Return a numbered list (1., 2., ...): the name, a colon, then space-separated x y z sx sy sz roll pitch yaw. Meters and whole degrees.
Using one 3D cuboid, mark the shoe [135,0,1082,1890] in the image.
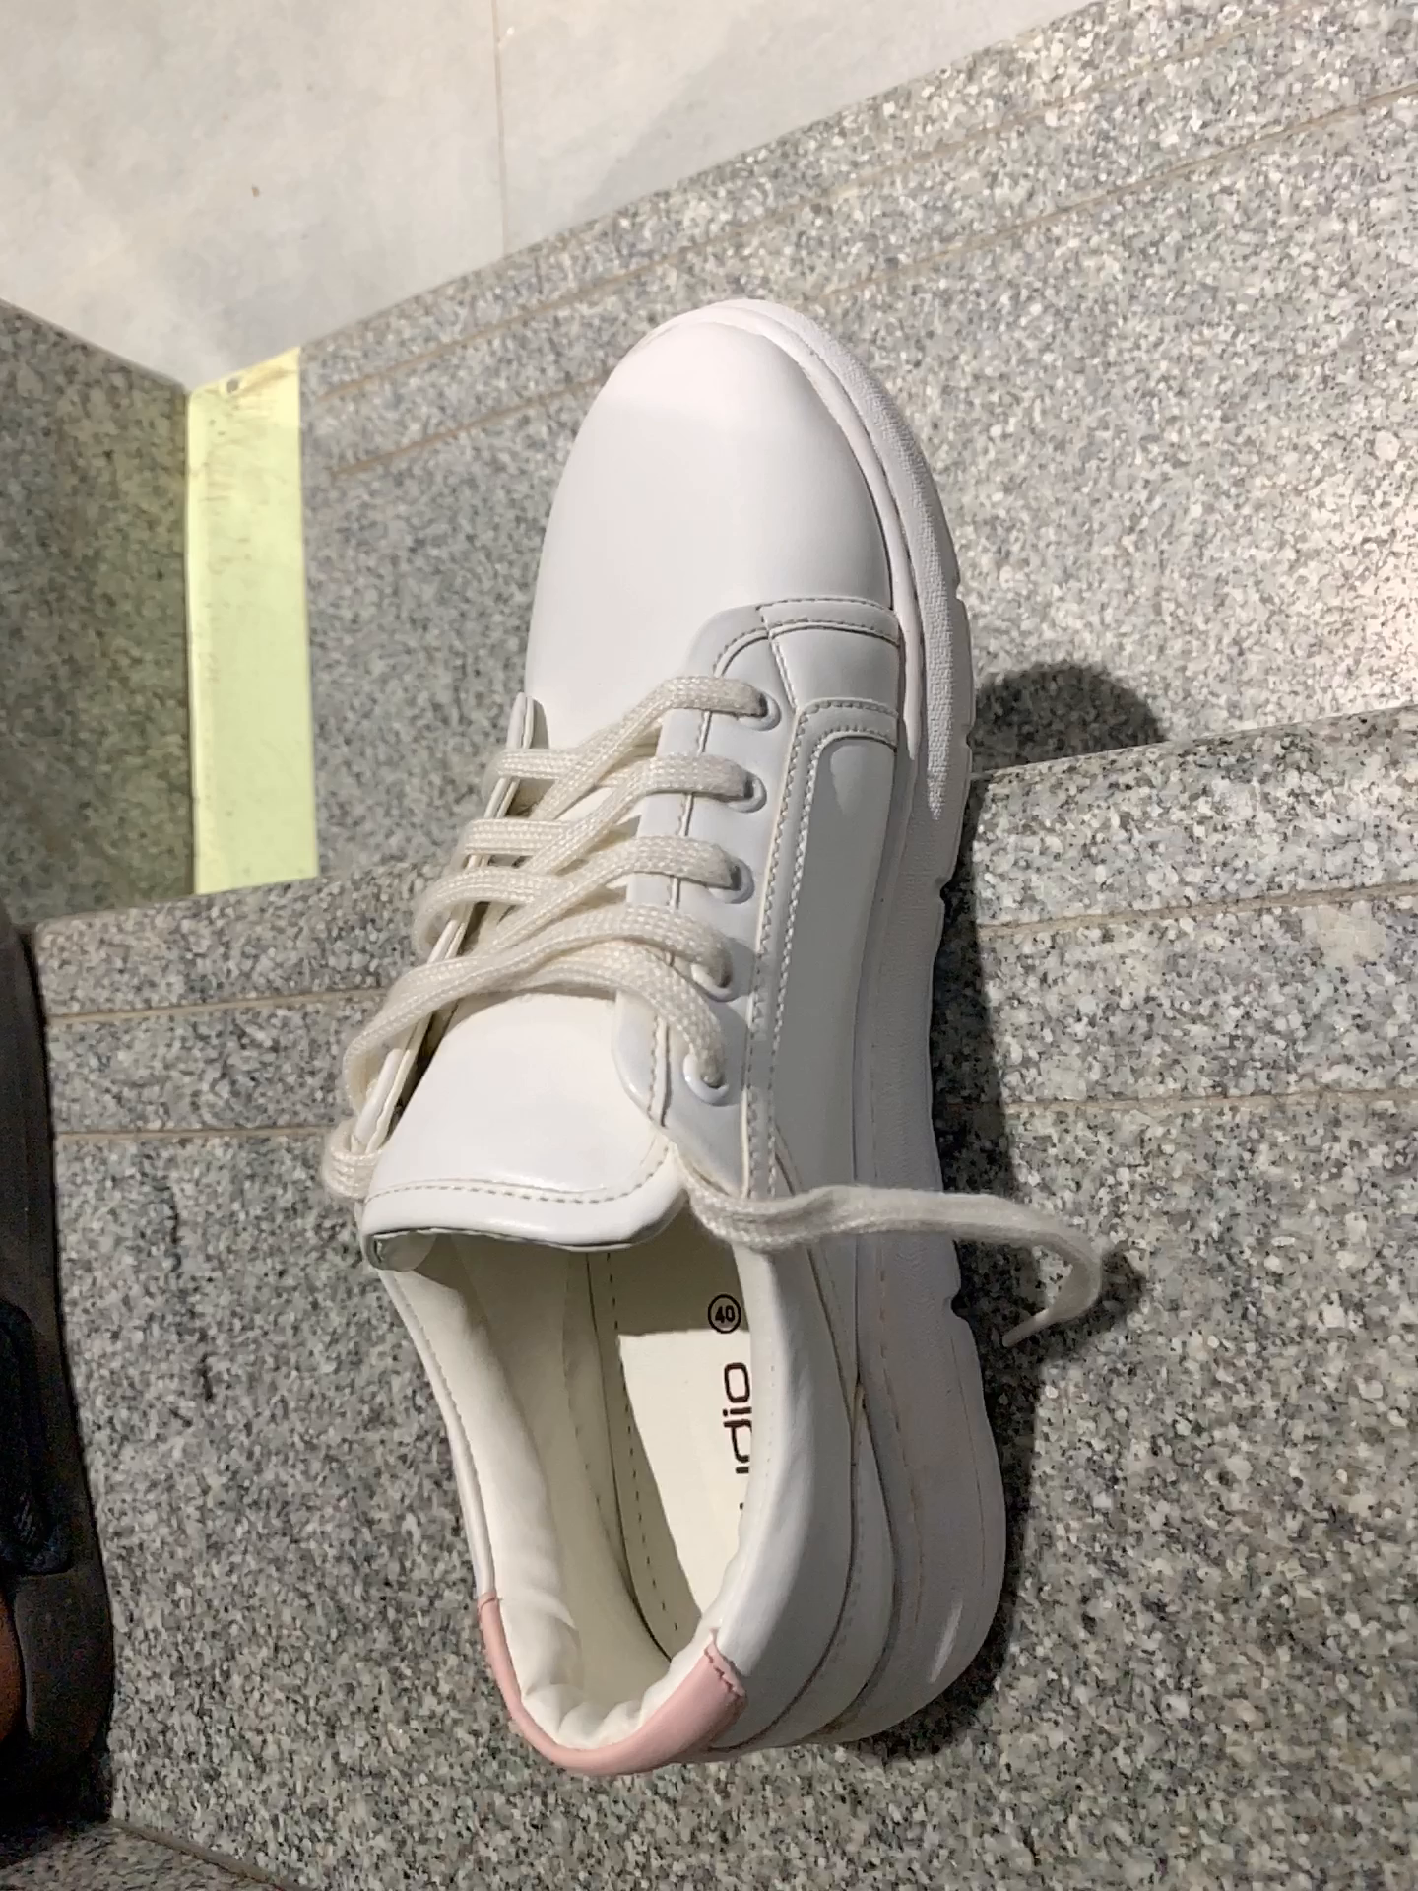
1. shoe: -0.017 0.015 0.258 0.110 0.110 0.290 -6 83 32
